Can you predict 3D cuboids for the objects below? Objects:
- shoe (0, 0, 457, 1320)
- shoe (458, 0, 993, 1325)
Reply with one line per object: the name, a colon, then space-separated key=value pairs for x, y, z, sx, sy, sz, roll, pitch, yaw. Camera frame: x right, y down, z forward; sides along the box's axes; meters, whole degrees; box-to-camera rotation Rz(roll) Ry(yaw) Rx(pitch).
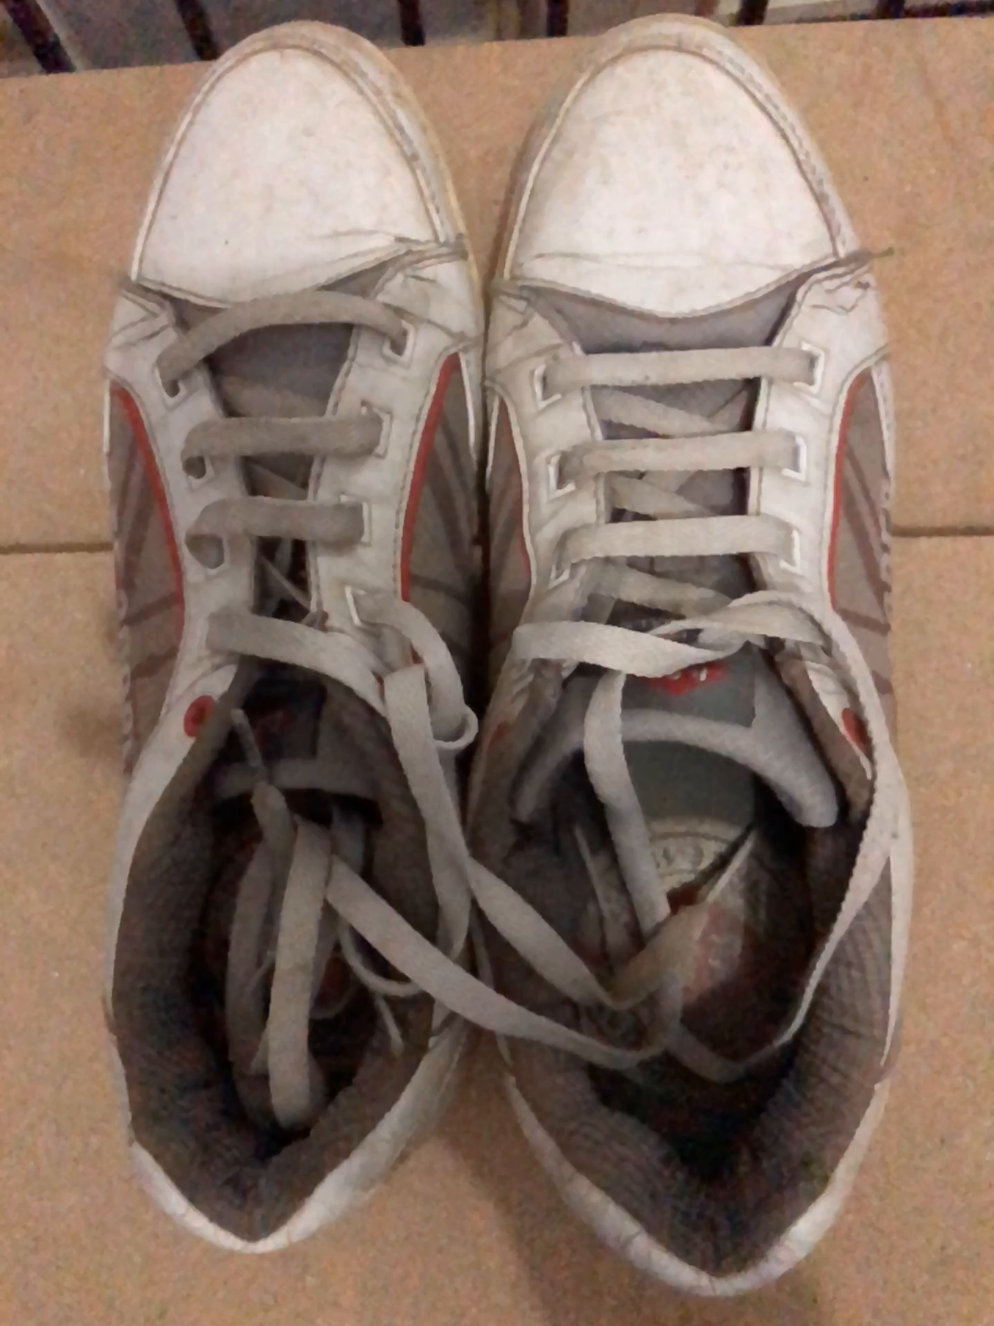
shoe: x=-0.063 y=-0.018 z=0.246 sx=0.100 sy=0.080 sz=0.270 roll=-1 pitch=80 yaw=2
shoe: x=0.045 y=-0.013 z=0.242 sx=0.100 sy=0.080 sz=0.270 roll=-1 pitch=80 yaw=2
